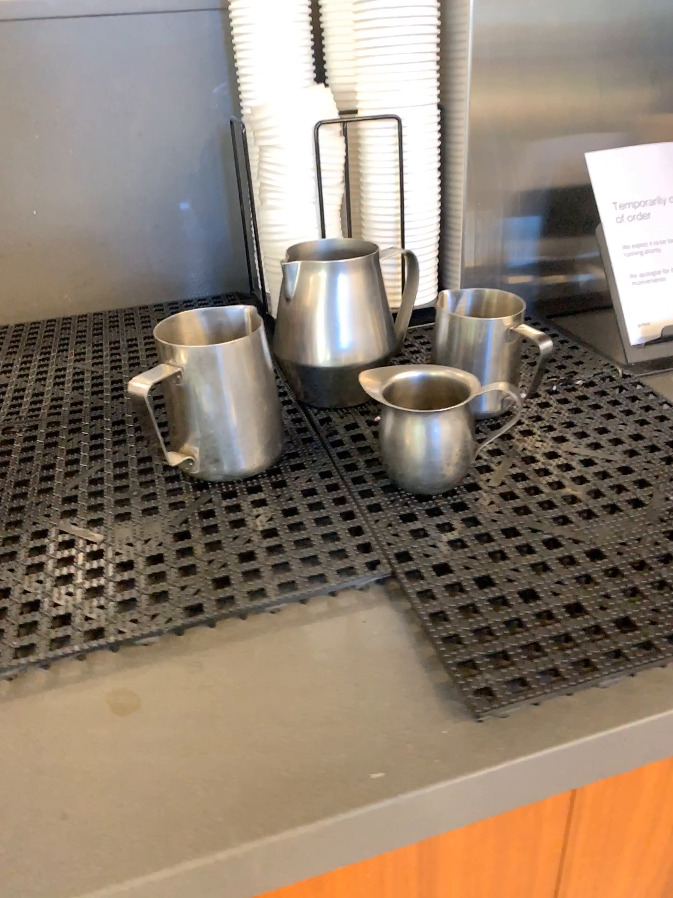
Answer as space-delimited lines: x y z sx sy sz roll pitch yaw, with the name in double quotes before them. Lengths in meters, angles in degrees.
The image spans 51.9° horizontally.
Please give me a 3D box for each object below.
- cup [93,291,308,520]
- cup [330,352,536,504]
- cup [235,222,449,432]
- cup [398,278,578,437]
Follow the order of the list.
"cup" -0.087 -0.037 0.489 0.080 0.109 0.120 10 33 23
"cup" 0.066 -0.018 0.465 0.120 0.060 0.080 6 32 17
"cup" 0.008 -0.114 0.612 0.150 0.129 0.101 -20 34 -26
"cup" 0.117 -0.078 0.554 0.080 0.080 0.111 -25 36 -32
